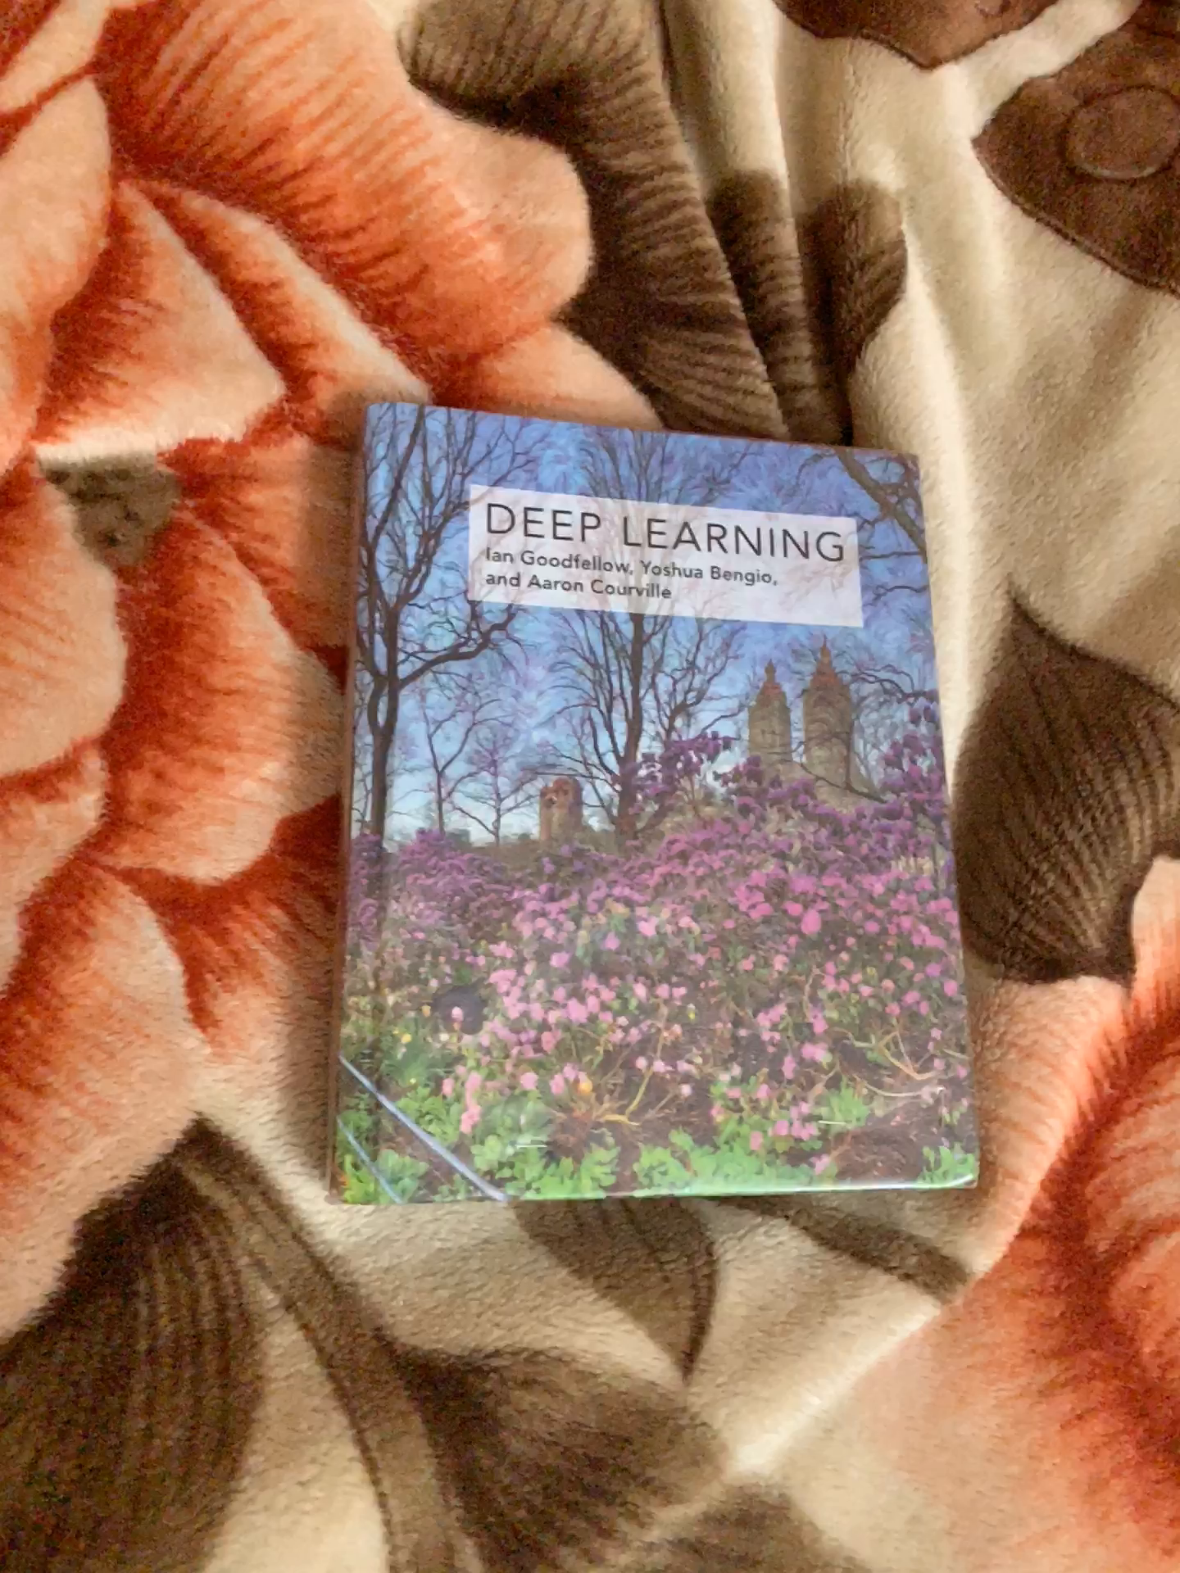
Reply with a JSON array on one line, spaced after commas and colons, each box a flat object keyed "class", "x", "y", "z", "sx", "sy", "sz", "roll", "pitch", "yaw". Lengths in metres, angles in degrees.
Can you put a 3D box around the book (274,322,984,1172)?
[{"class": "book", "x": 0.014, "y": -0.014, "z": 0.395, "sx": 0.210, "sy": 0.030, "sz": 0.261, "roll": 3, "pitch": 75, "yaw": -13}]
